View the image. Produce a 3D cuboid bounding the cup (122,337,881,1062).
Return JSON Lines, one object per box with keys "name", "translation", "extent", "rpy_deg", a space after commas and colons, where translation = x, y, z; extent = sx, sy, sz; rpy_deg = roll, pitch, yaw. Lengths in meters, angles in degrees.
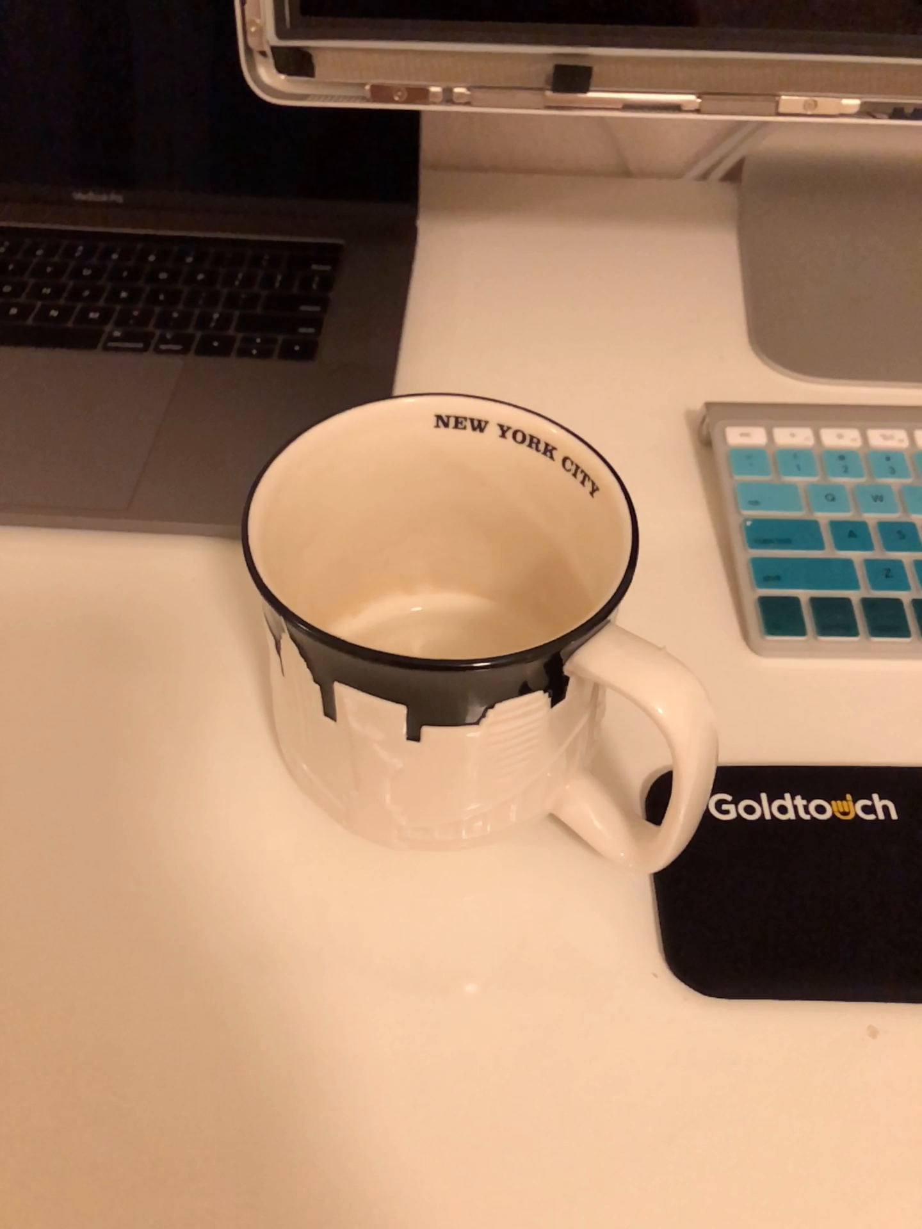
{"name": "cup", "translation": [0.007, 0.015, 0.284], "extent": [0.150, 0.090, 0.110], "rpy_deg": [34, 56, 24]}
